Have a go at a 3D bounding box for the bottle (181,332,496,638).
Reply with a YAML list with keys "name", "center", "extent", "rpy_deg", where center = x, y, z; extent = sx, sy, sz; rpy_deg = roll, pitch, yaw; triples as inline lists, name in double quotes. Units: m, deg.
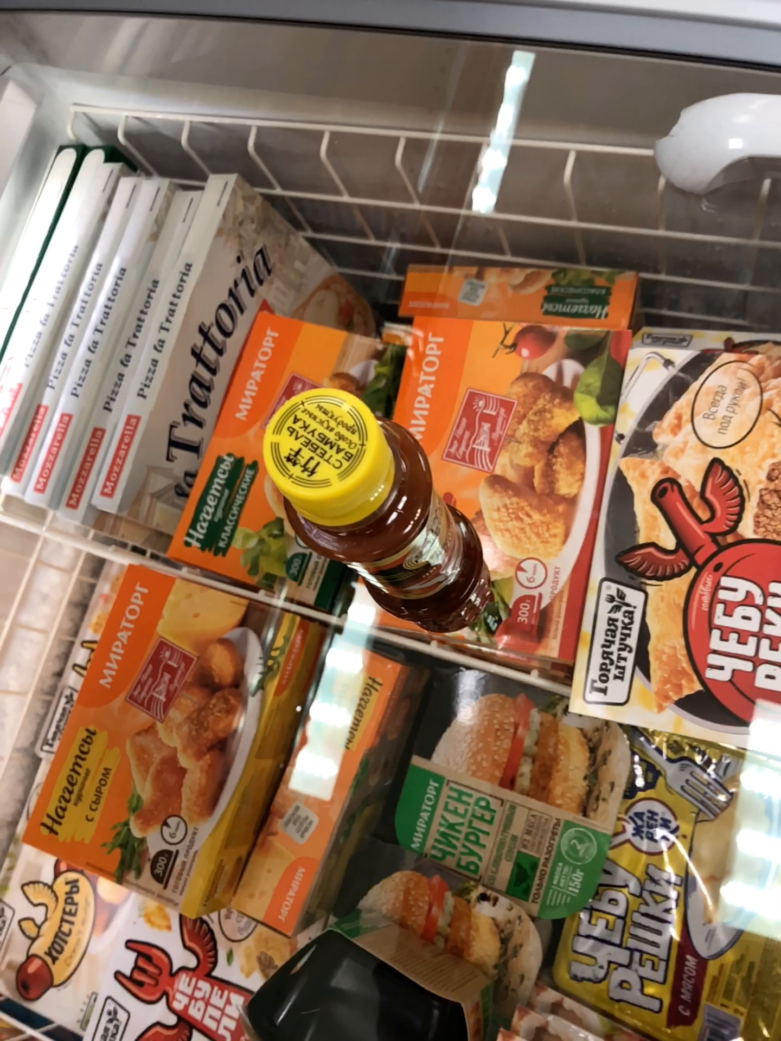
- name: "bottle"
  center: [-0.001, 0.002, 0.319]
  extent: [0.047, 0.213, 0.048]
  rpy_deg: [-4, 75, 13]
